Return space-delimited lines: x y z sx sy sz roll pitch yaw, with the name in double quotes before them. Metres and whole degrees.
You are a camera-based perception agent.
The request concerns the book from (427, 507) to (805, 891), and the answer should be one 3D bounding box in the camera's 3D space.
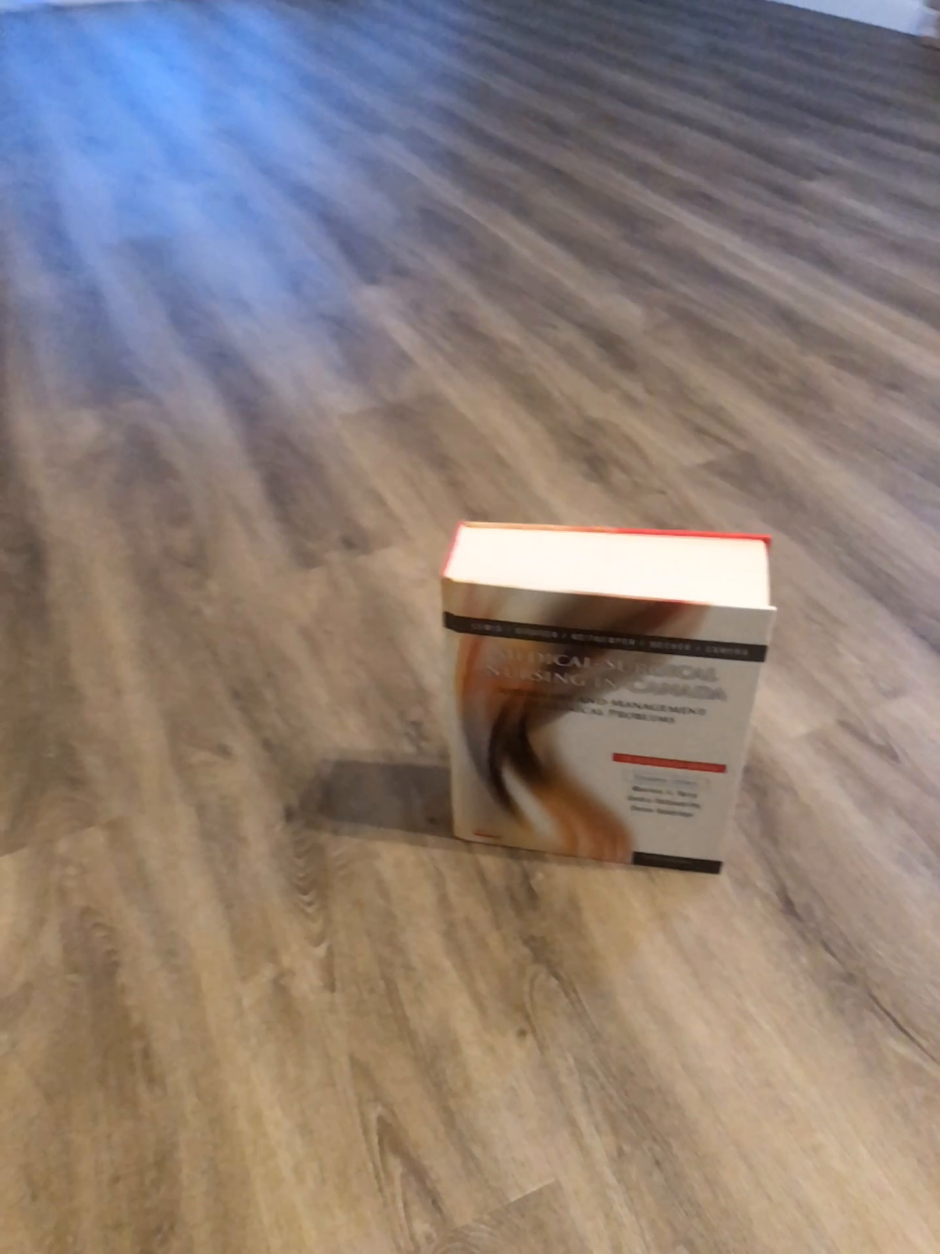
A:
"book" 0.100 0.063 0.787 0.240 0.290 0.087 5 40 8
